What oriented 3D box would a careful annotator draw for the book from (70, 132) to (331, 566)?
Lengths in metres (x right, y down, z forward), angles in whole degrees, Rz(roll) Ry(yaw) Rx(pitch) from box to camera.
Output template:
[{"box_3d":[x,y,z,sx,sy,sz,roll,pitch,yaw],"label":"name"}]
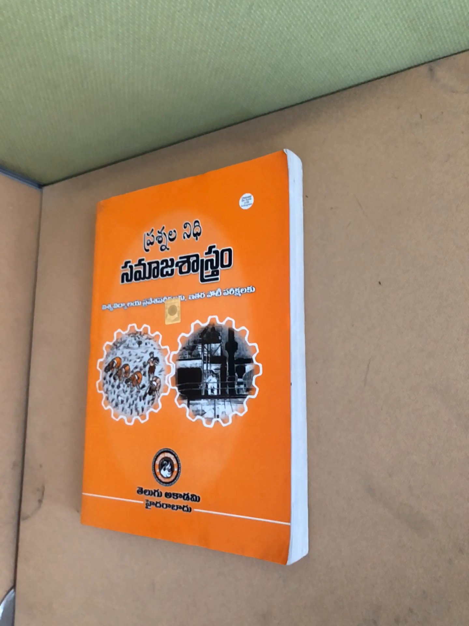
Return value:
[{"box_3d":[-0.033,0.026,0.424,0.211,0.050,0.290,-6,78,32],"label":"book"}]
